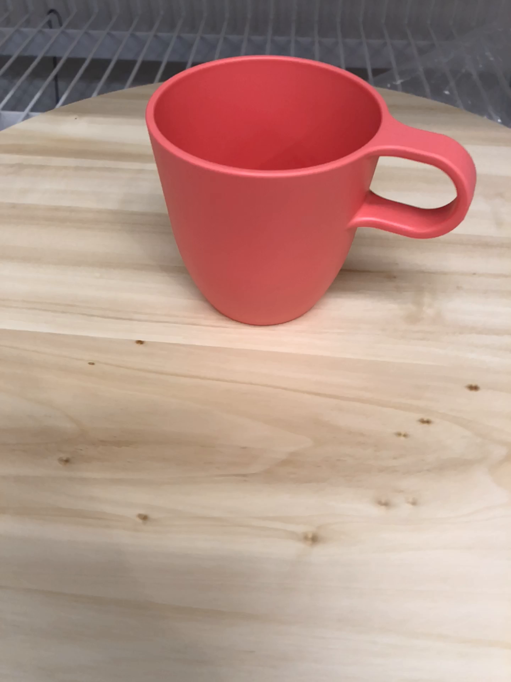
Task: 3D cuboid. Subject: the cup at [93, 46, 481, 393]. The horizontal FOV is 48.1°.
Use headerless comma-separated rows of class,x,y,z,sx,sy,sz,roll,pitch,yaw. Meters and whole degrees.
cup,0.014,-0.050,0.221,0.110,0.080,0.080,16,49,14
